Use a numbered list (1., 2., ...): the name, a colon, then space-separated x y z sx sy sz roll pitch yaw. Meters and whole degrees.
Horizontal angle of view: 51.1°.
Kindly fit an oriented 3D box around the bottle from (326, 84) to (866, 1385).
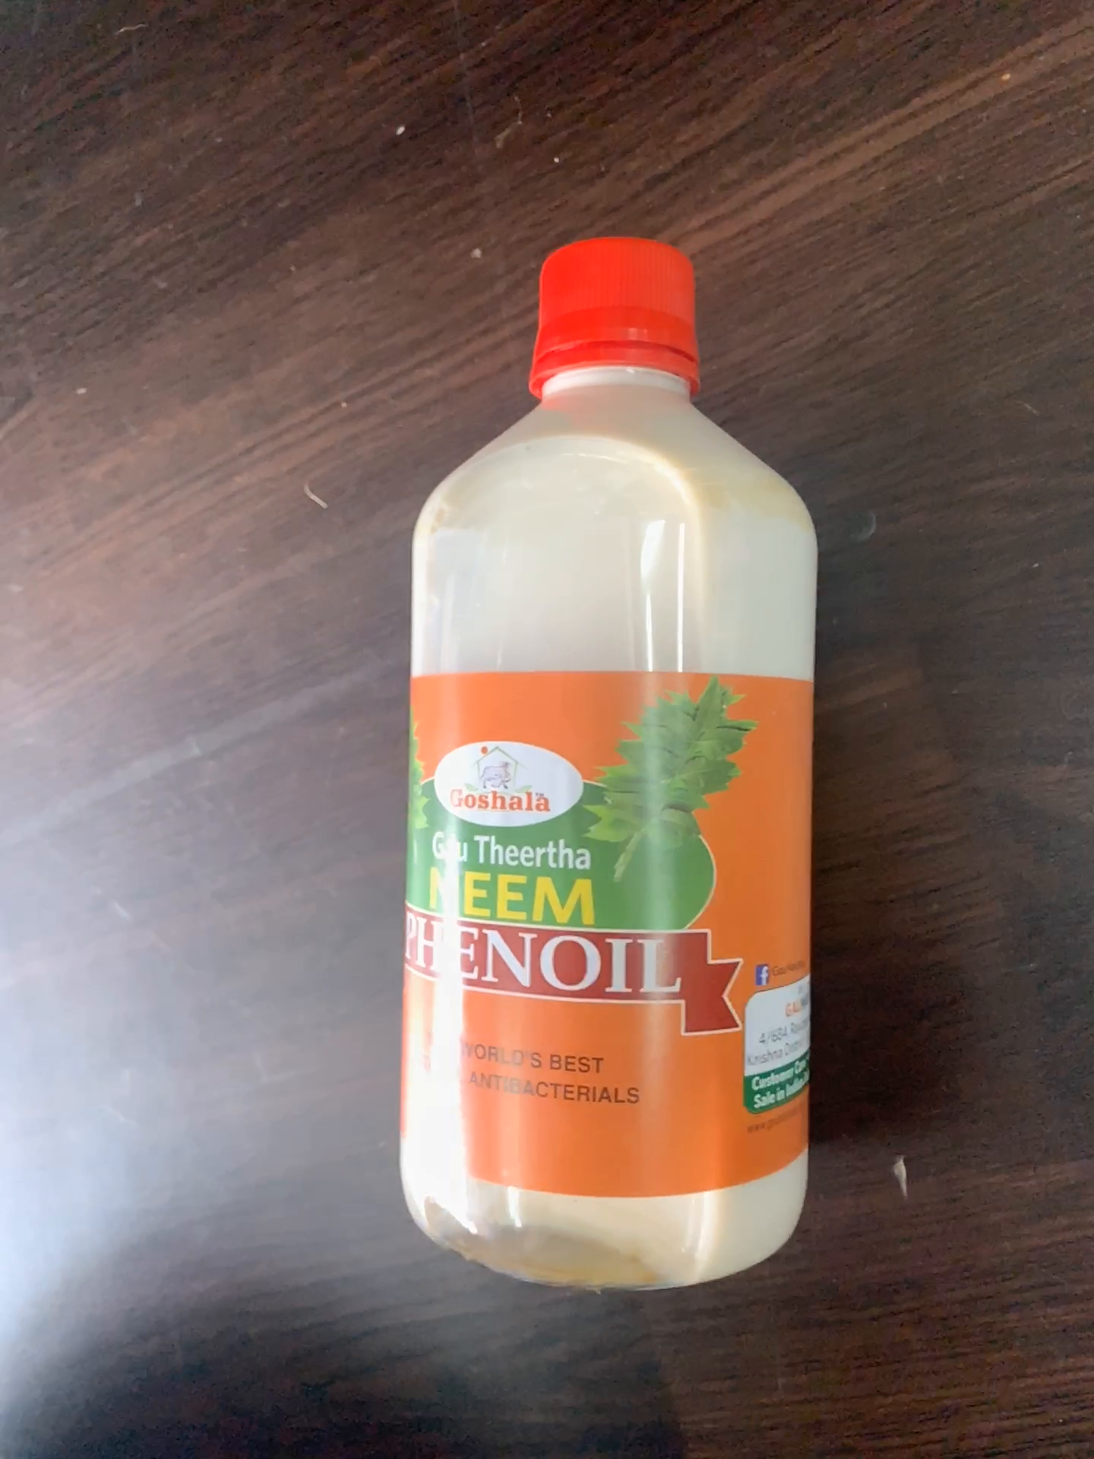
1. bottle: 0.013 0.001 0.215 0.080 0.070 0.190 1 91 23
